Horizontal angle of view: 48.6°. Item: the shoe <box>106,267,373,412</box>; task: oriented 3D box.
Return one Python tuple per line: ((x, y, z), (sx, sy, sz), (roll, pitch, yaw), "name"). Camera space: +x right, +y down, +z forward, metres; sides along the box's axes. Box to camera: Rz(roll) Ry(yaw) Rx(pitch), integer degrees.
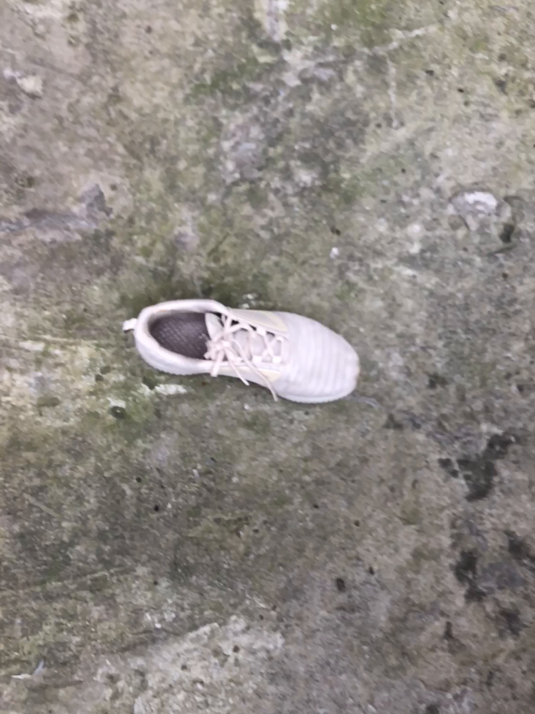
((-0.030, -0.019, 0.751), (0.300, 0.110, 0.120), (9, 79, 7), "shoe")
